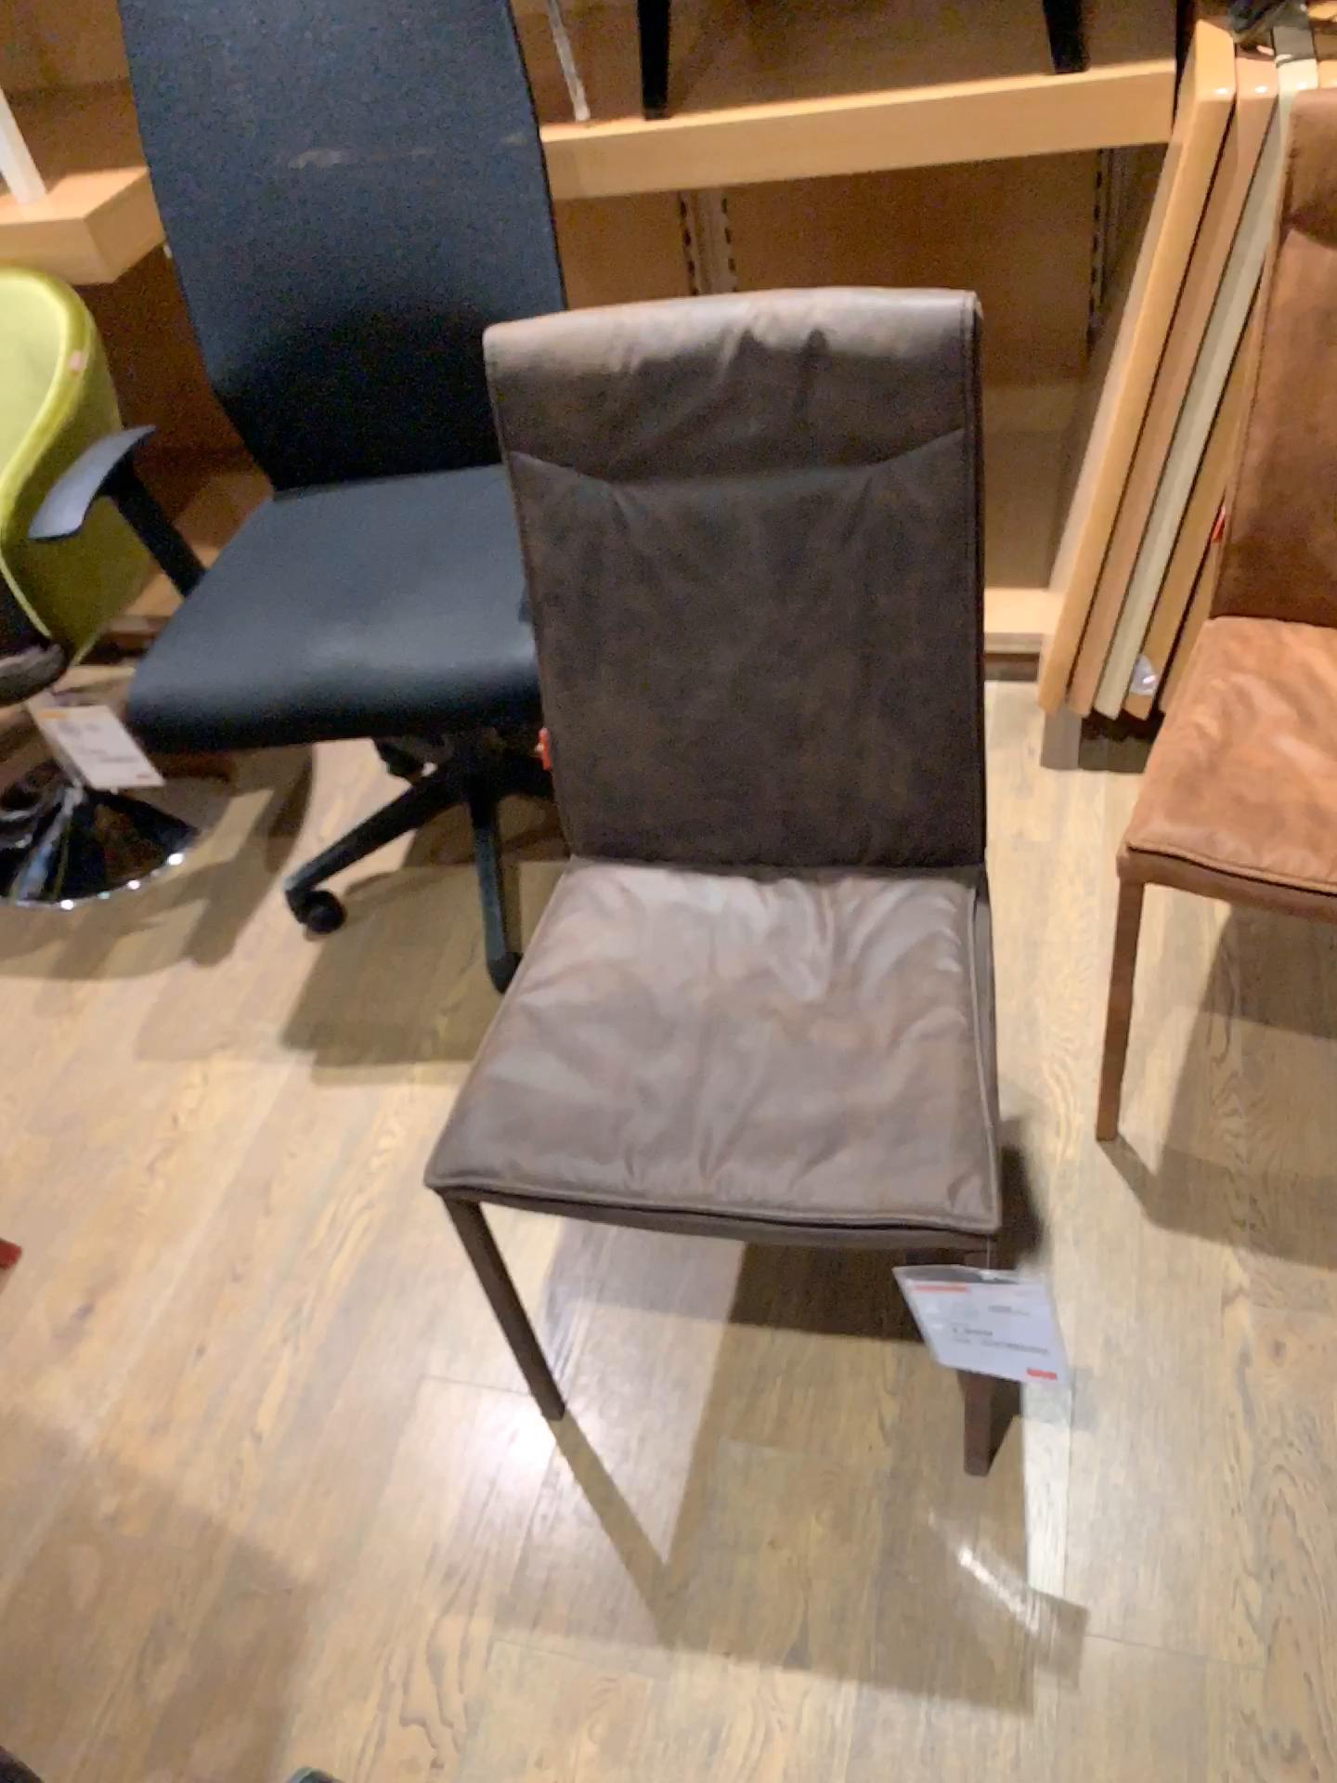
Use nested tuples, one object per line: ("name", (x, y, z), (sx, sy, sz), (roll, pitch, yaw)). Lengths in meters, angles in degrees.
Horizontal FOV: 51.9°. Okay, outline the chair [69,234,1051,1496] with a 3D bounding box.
("chair", (0.042, 0.030, 1.170), (0.500, 0.906, 0.522), (3, 46, 15))
